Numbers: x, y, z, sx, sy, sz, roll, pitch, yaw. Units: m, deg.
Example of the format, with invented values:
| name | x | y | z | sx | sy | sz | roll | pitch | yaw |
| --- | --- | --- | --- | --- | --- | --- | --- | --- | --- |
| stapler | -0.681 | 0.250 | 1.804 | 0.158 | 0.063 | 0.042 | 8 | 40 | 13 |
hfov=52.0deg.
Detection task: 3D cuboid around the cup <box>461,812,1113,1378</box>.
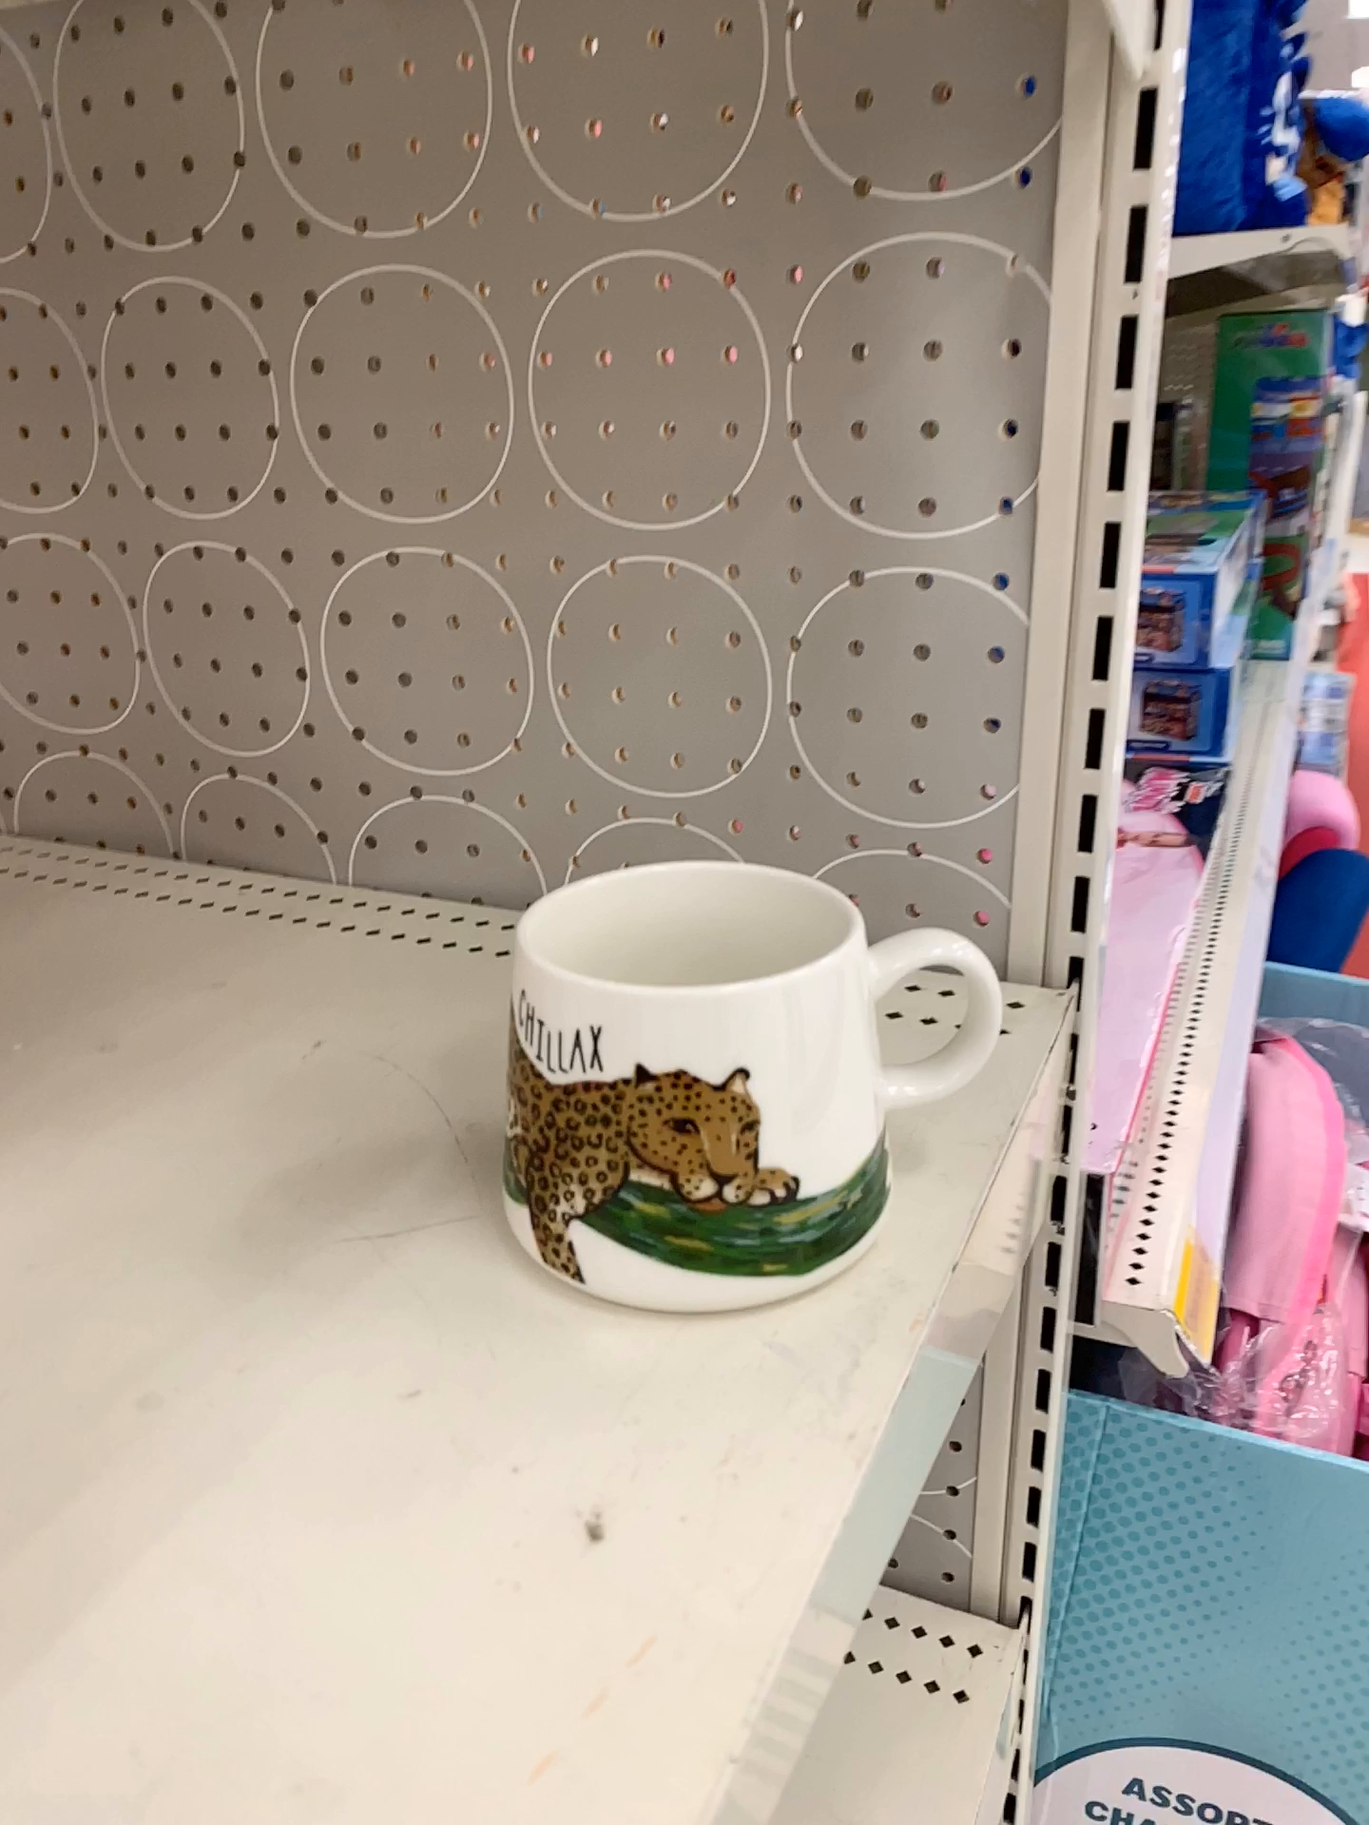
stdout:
| name | x | y | z | sx | sy | sz | roll | pitch | yaw |
| --- | --- | --- | --- | --- | --- | --- | --- | --- | --- |
| cup | 0.017 | 0.038 | 0.365 | 0.140 | 0.090 | 0.111 | -5 | 22 | -8 |
